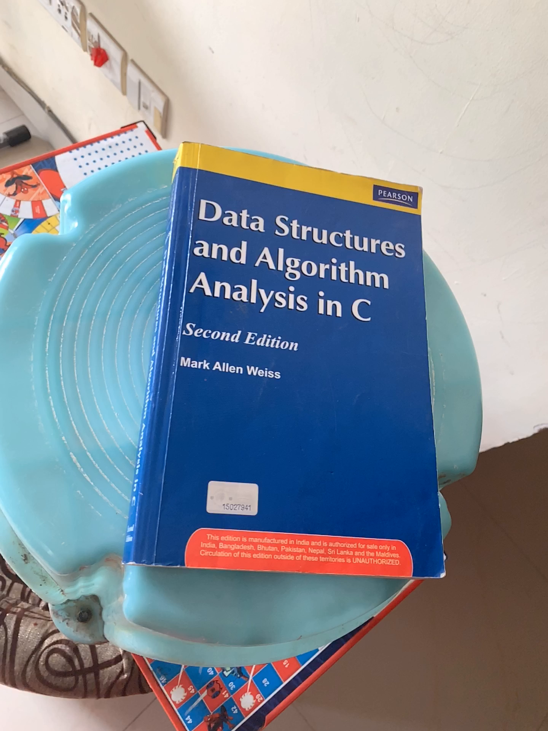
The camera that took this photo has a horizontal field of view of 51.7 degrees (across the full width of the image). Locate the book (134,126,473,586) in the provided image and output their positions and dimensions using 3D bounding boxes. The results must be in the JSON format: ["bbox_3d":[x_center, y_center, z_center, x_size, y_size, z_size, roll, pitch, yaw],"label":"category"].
[{"bbox_3d":[0.020,-0.010,0.313,0.160,0.030,0.241,7,69,-13],"label":"book"}]
